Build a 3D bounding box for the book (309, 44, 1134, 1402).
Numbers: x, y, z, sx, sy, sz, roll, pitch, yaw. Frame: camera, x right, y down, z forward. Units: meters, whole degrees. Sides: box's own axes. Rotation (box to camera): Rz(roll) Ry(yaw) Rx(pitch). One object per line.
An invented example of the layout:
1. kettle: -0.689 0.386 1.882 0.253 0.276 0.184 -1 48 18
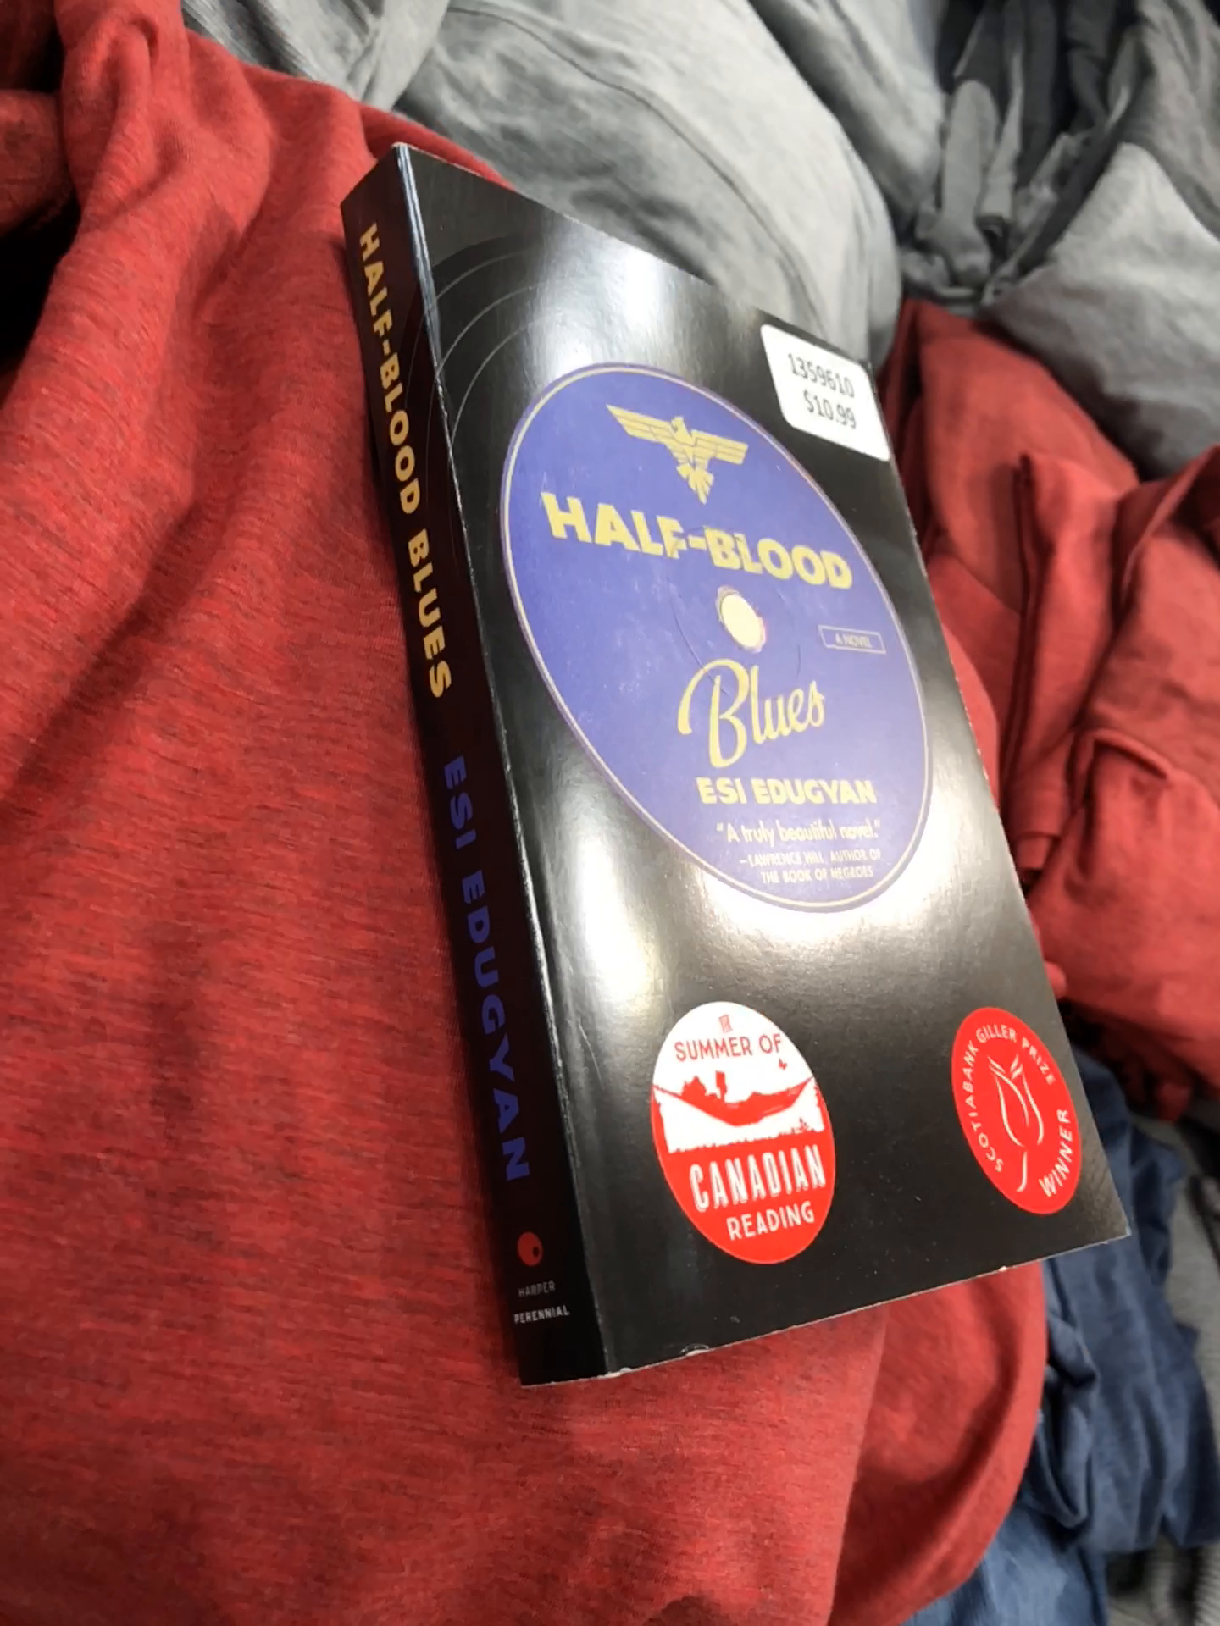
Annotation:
1. book: 0.024 -0.020 0.262 0.146 0.025 0.220 10 61 -46
